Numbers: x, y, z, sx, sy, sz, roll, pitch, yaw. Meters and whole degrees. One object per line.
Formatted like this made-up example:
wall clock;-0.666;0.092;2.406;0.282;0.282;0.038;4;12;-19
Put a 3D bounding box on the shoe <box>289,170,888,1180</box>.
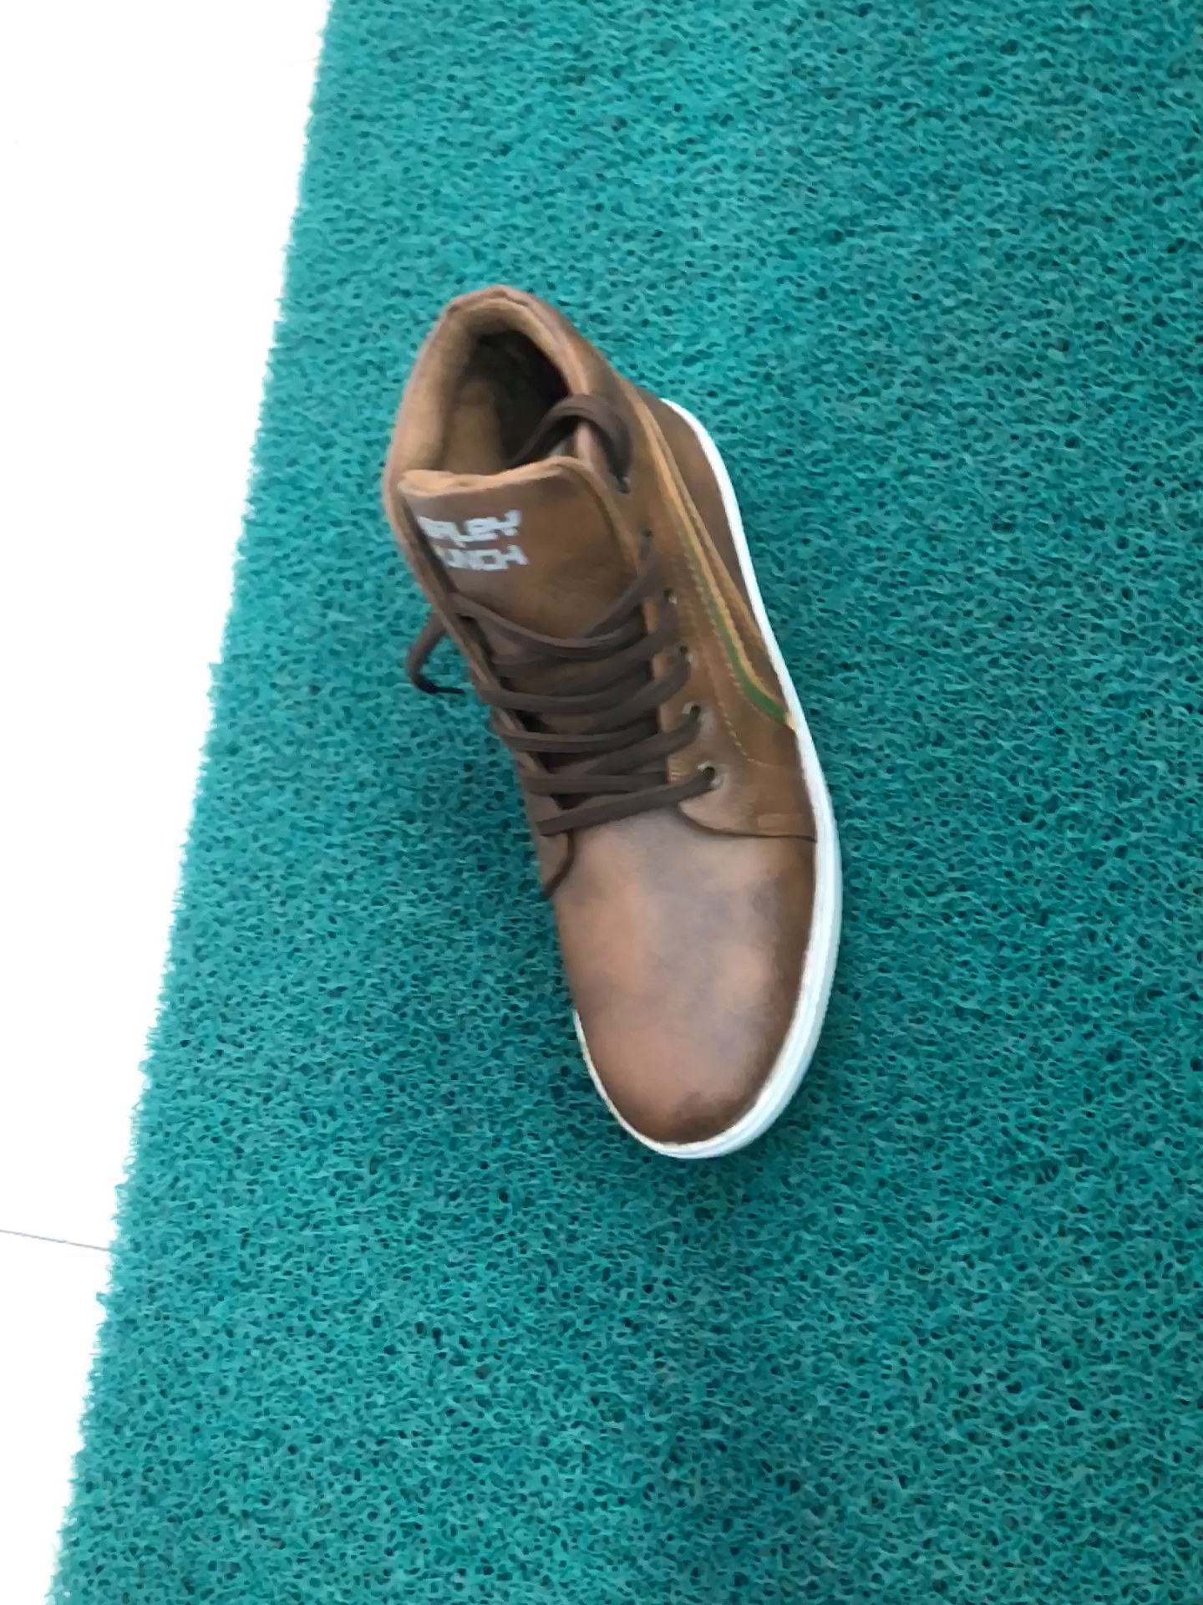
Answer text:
shoe;0.002;-0.022;0.441;0.090;0.190;0.270;-16;70;20
